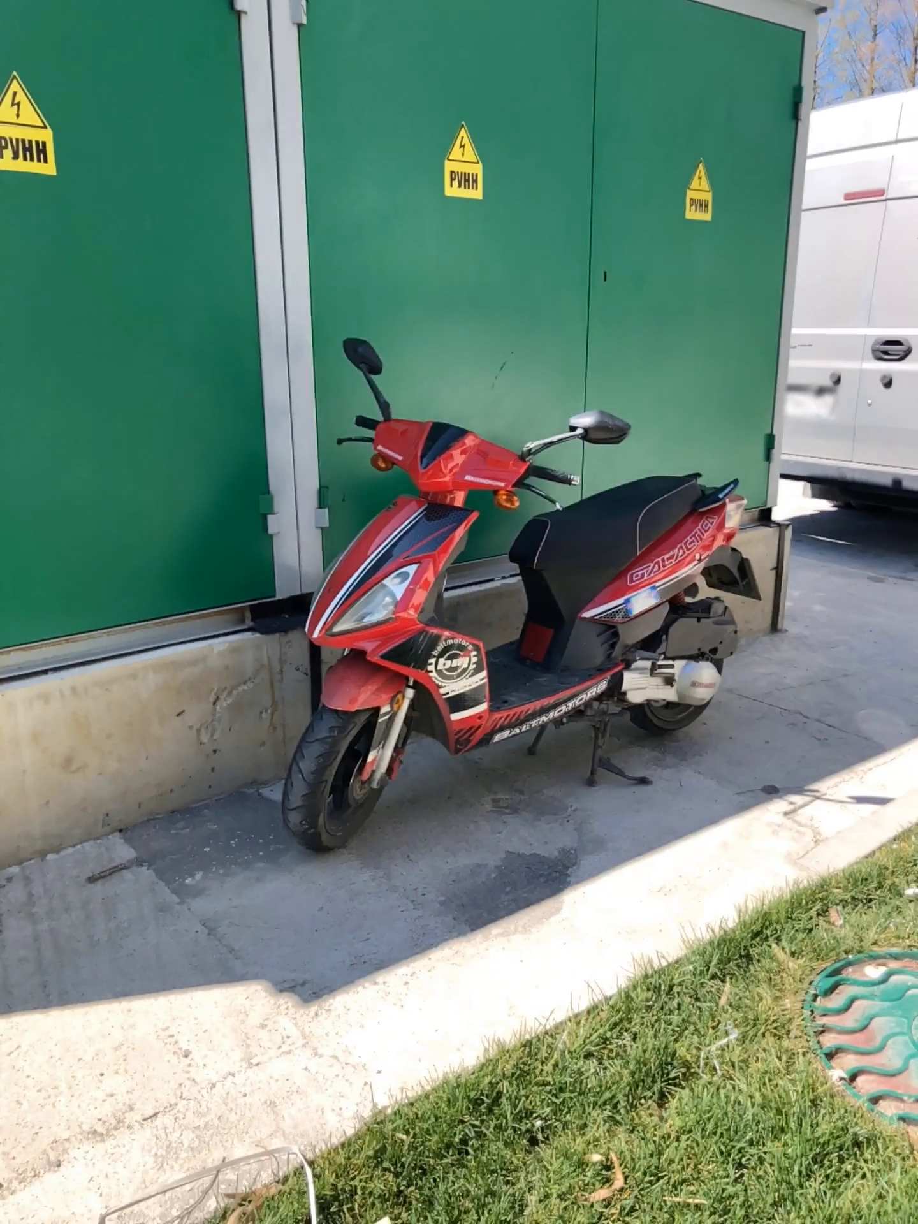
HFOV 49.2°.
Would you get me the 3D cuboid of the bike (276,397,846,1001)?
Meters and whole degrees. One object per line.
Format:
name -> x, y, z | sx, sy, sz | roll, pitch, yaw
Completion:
bike -> 0.329, 0.051, 2.675 | 1.592, 1.087, 0.590 | -13, 20, -35
